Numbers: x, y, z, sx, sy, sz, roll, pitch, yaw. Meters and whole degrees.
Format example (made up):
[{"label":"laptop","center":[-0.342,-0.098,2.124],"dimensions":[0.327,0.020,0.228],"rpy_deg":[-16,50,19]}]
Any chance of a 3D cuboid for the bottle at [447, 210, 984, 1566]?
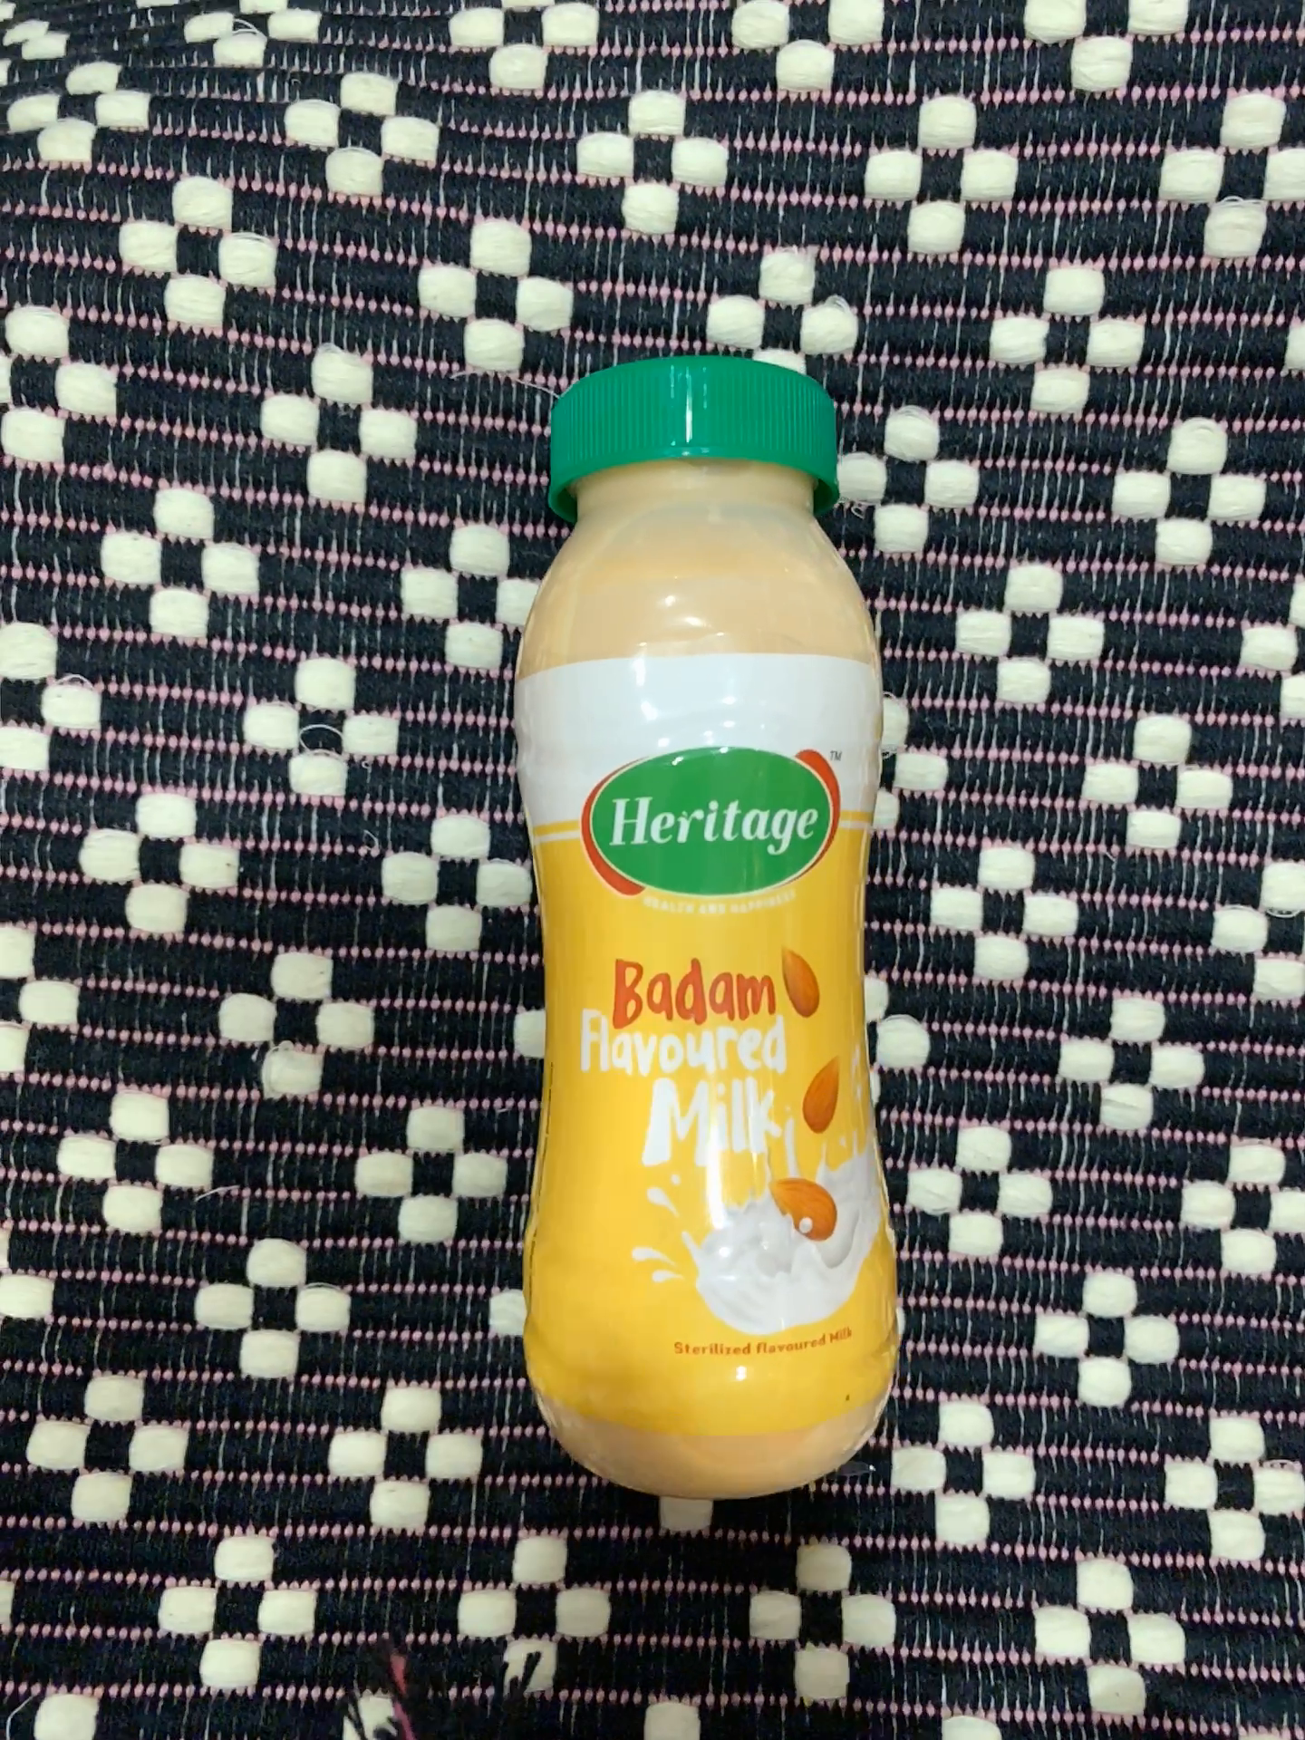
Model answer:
[{"label":"bottle","center":[0.004,0.001,0.174],"dimensions":[0.060,0.040,0.150],"rpy_deg":[0,86,-9]}]
